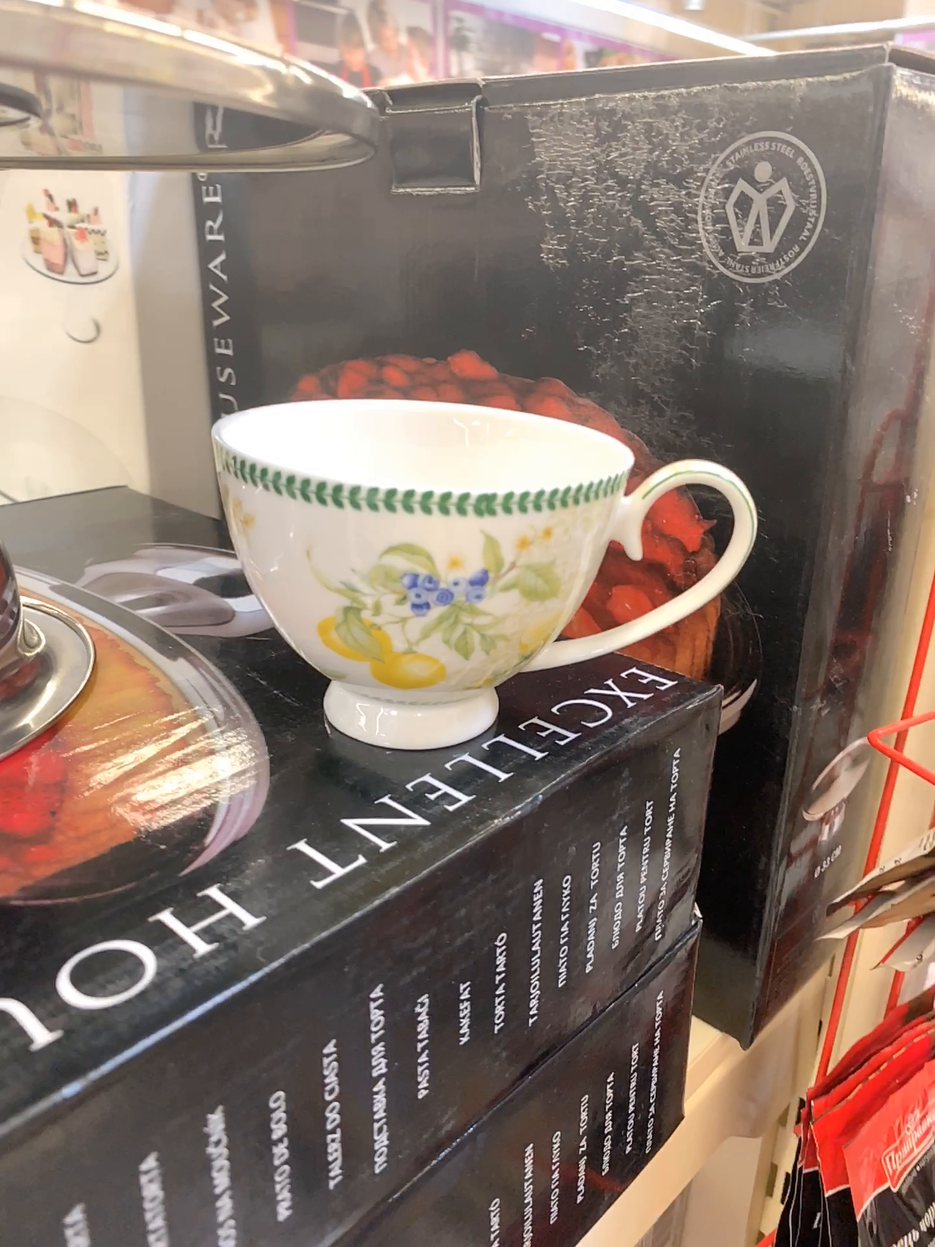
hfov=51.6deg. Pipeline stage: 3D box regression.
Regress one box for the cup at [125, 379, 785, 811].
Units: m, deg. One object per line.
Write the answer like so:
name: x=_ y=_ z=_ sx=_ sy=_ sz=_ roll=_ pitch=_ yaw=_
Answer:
cup: x=0.000 y=-0.016 z=0.248 sx=0.130 sy=0.070 sz=0.100 roll=5 pitch=22 yaw=6
